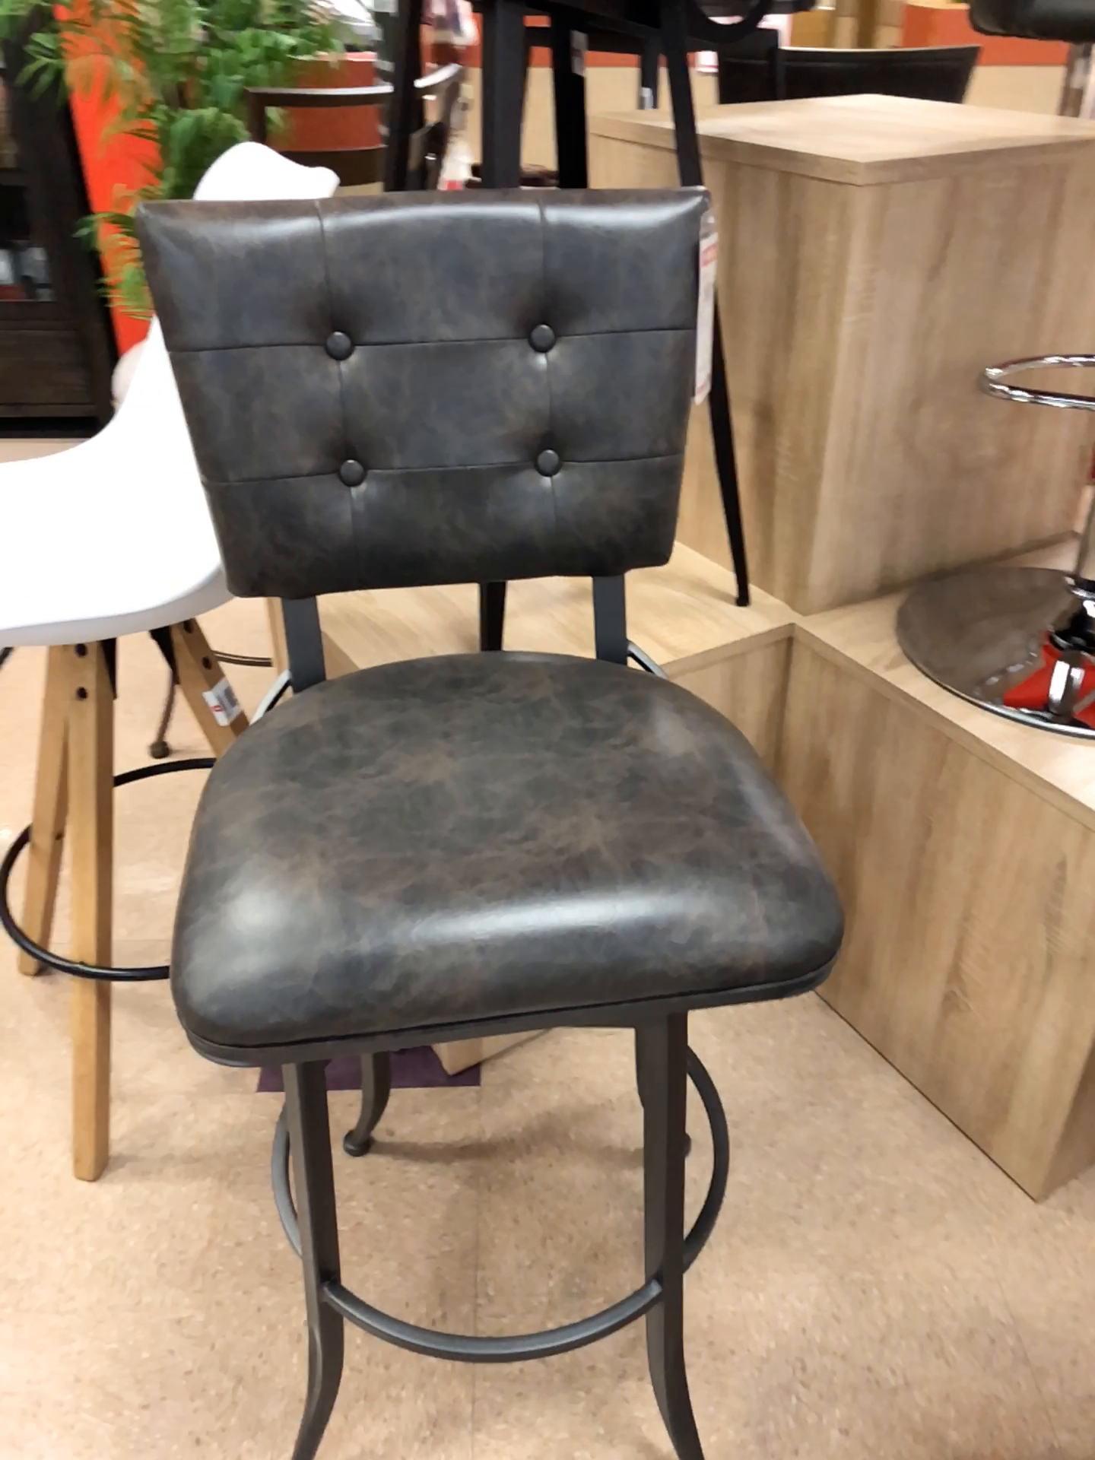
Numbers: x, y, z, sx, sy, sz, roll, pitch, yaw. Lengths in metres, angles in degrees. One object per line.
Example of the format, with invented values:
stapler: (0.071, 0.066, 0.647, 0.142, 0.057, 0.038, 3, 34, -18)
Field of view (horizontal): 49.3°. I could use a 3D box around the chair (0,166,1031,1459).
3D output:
chair: (-0.047, 0.164, 1.045, 0.518, 1.108, 0.514, -5, 33, -5)
